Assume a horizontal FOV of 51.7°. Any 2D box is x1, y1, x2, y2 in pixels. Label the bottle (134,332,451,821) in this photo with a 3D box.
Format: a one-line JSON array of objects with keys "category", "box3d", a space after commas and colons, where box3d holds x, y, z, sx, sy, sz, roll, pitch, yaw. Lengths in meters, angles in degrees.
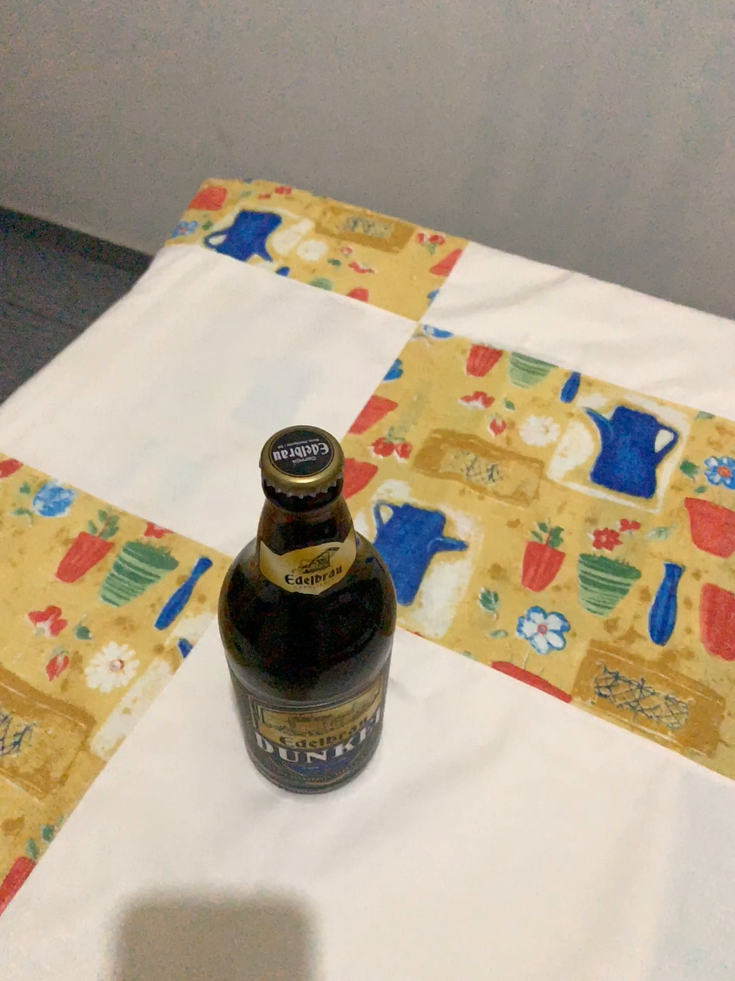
[{"category": "bottle", "box3d": [-0.030, 0.052, 0.315, 0.080, 0.219, 0.080, 1, 51, -1]}]
